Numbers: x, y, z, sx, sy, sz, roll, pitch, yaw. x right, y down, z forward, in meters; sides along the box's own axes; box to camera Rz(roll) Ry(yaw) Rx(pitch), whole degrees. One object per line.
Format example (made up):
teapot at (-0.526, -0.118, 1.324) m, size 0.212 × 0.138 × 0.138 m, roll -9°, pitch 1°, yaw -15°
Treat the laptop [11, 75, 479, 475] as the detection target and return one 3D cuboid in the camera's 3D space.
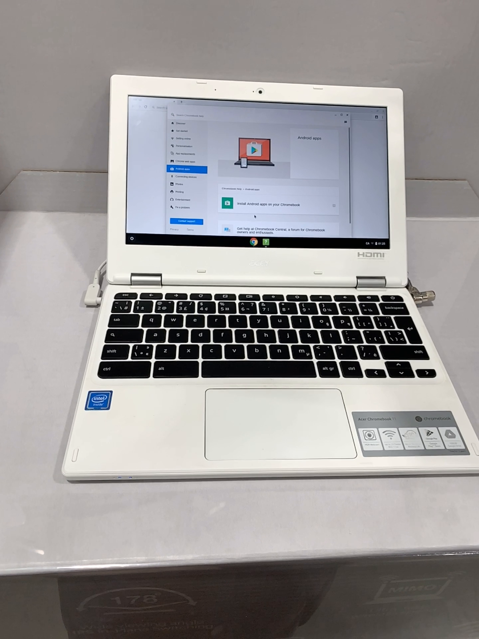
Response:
laptop at (0.025, -0.063, 0.399) m, size 0.282 × 0.132 × 0.330 m, roll 1°, pitch 44°, yaw -4°
